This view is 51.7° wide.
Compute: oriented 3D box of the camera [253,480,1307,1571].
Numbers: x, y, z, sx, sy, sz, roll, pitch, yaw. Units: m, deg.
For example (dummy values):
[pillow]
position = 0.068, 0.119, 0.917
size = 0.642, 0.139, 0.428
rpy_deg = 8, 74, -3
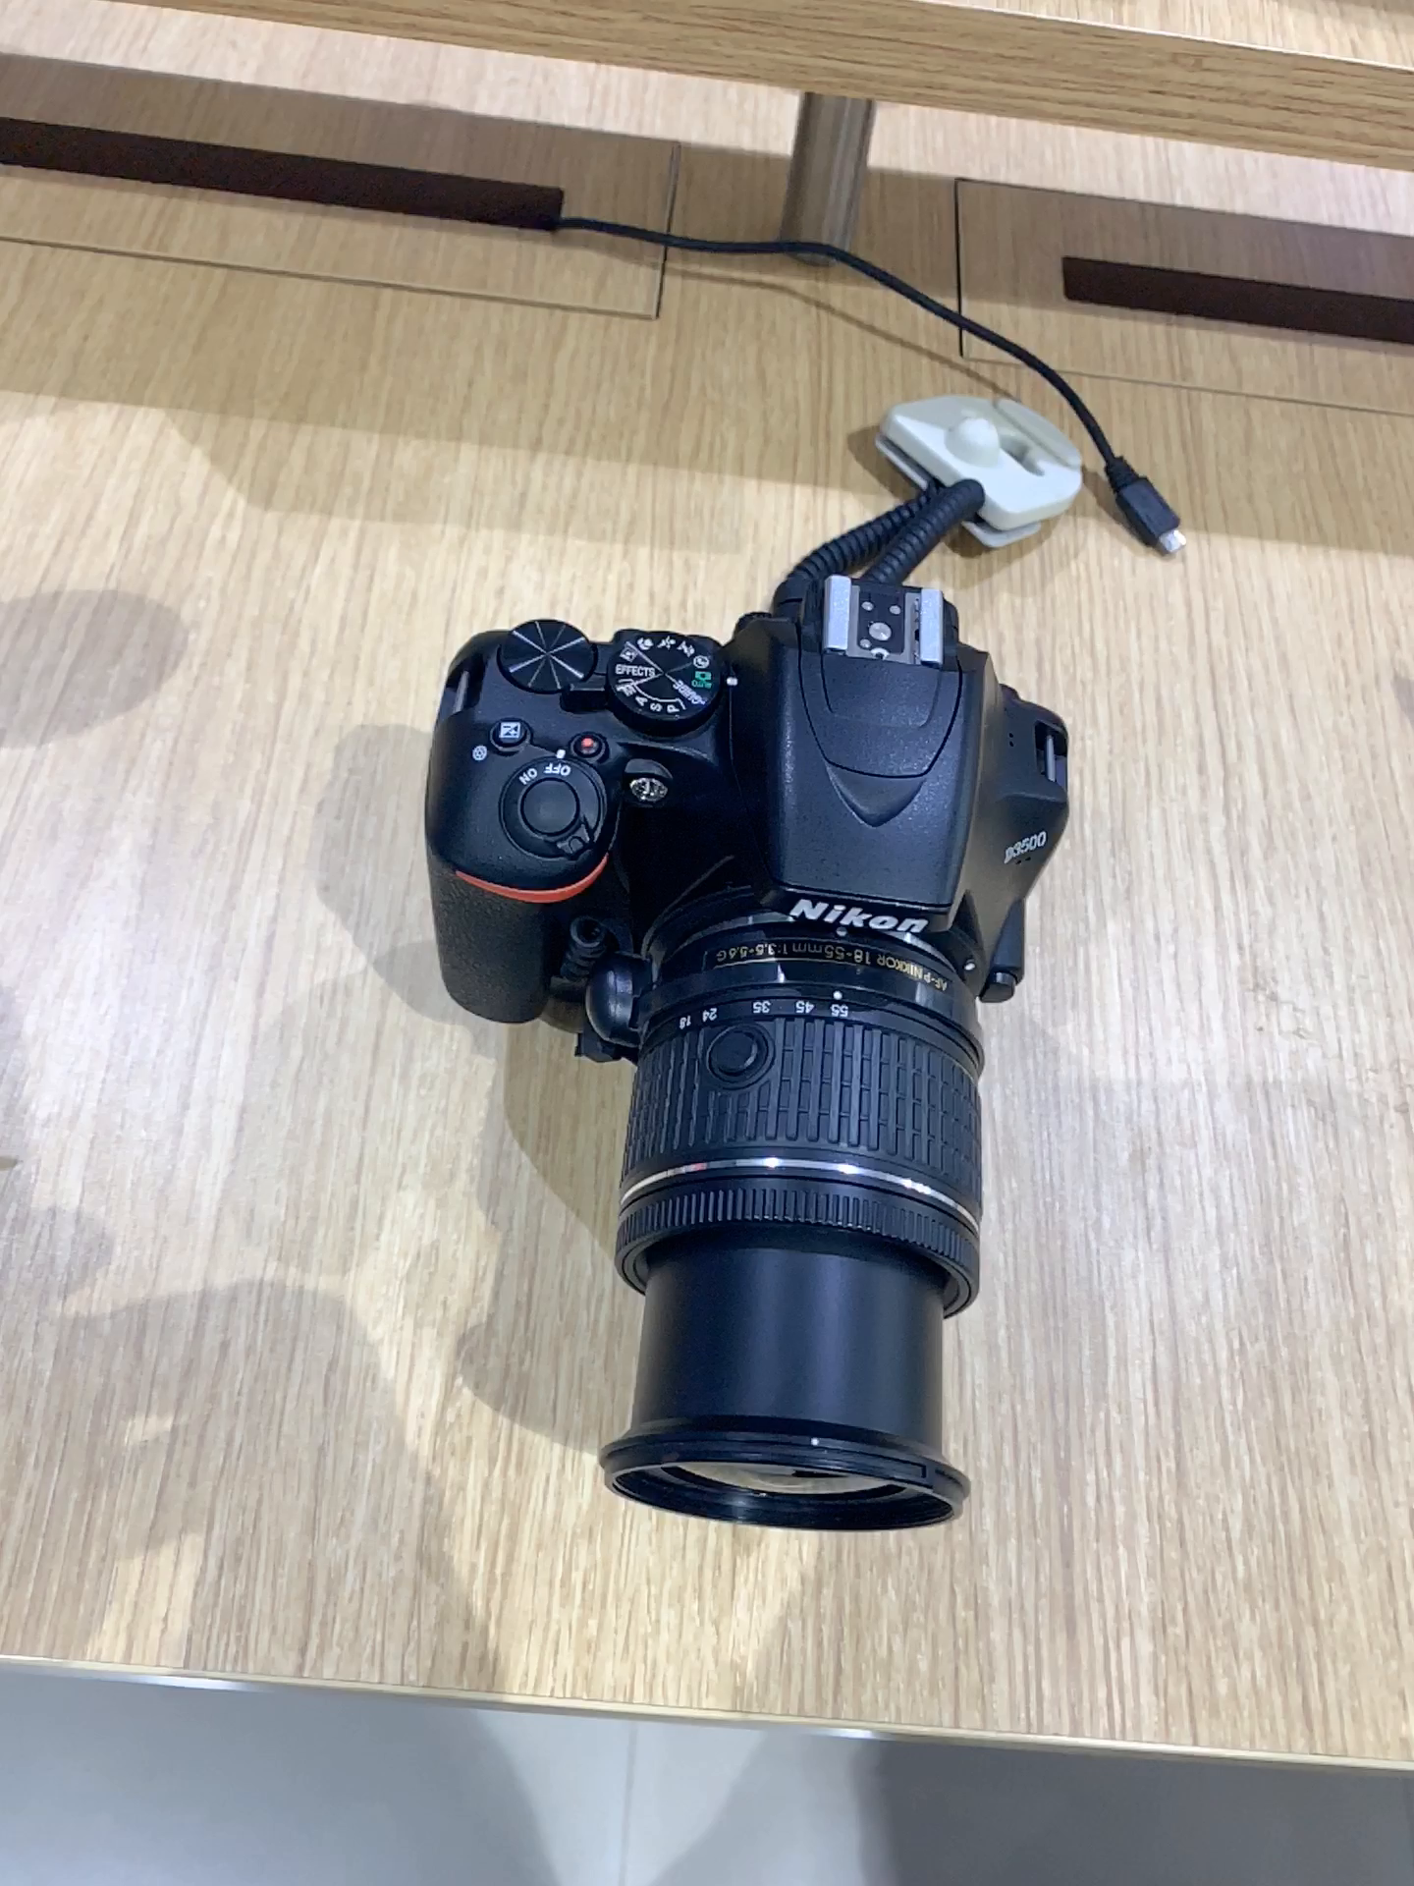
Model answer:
[camera]
position = 0.008, 0.018, 0.235
size = 0.115, 0.100, 0.136
rpy_deg = 5, 61, -3
